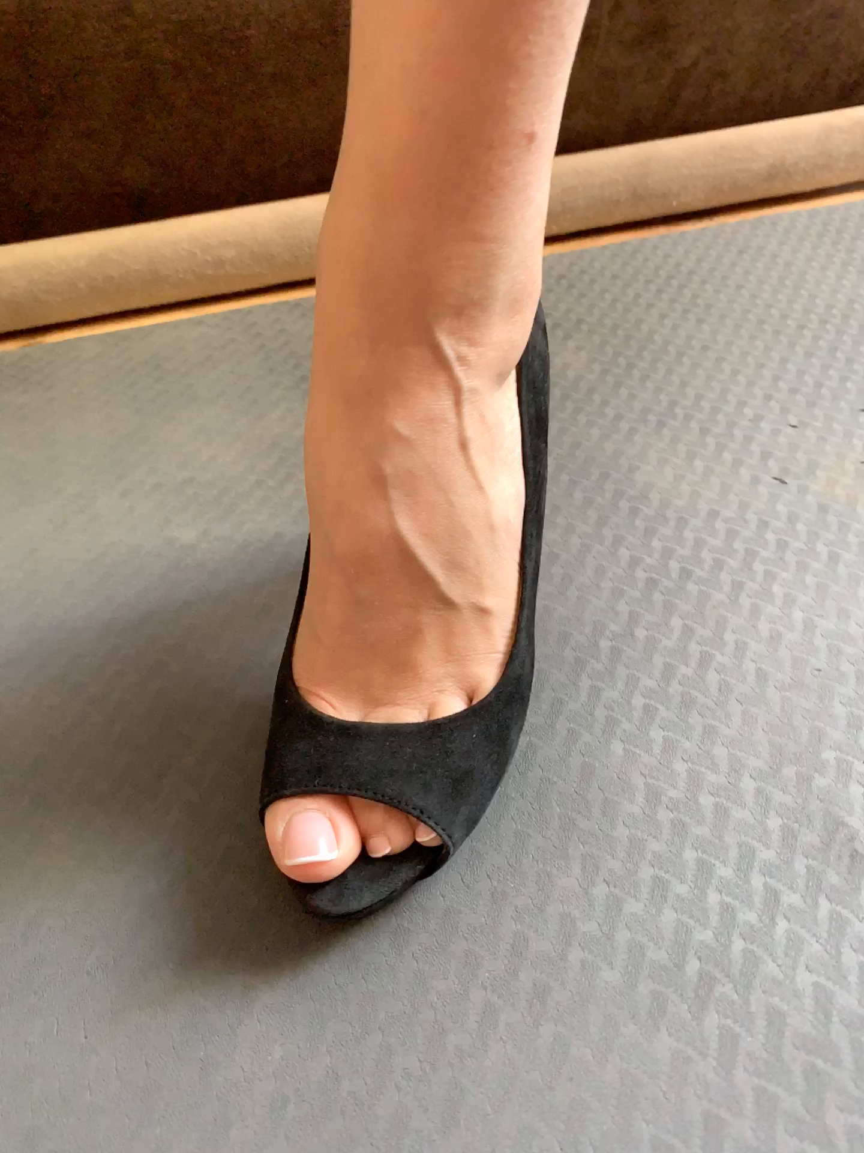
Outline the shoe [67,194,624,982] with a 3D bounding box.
[{"bbox_3d":[0.001,-0.013,0.288,0.090,0.139,0.211,7,43,13],"label":"shoe"}]
